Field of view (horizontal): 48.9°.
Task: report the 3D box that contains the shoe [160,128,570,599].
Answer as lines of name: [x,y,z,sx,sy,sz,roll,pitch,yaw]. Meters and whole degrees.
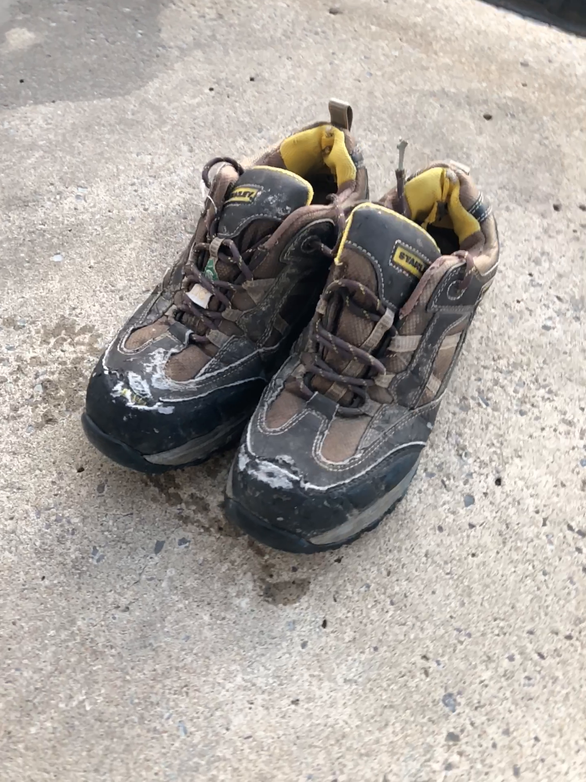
shoe: [0.049,-0.016,0.423,0.120,0.169,0.231,31,64,17]

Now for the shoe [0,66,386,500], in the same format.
shoe: [-0.052,-0.077,0.447,0.100,0.149,0.251,31,64,17]
